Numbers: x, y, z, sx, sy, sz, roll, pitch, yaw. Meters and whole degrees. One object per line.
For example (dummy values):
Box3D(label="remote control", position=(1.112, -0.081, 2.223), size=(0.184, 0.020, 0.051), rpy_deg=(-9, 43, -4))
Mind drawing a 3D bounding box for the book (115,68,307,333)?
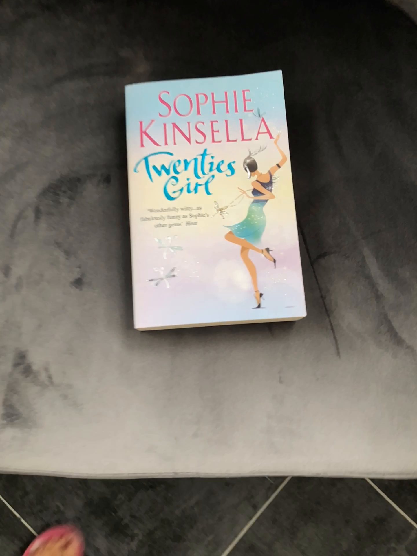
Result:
Box3D(label="book", position=(-0.002, -0.062, 0.370), size=(0.132, 0.043, 0.200), rpy_deg=(-4, 80, -2))
